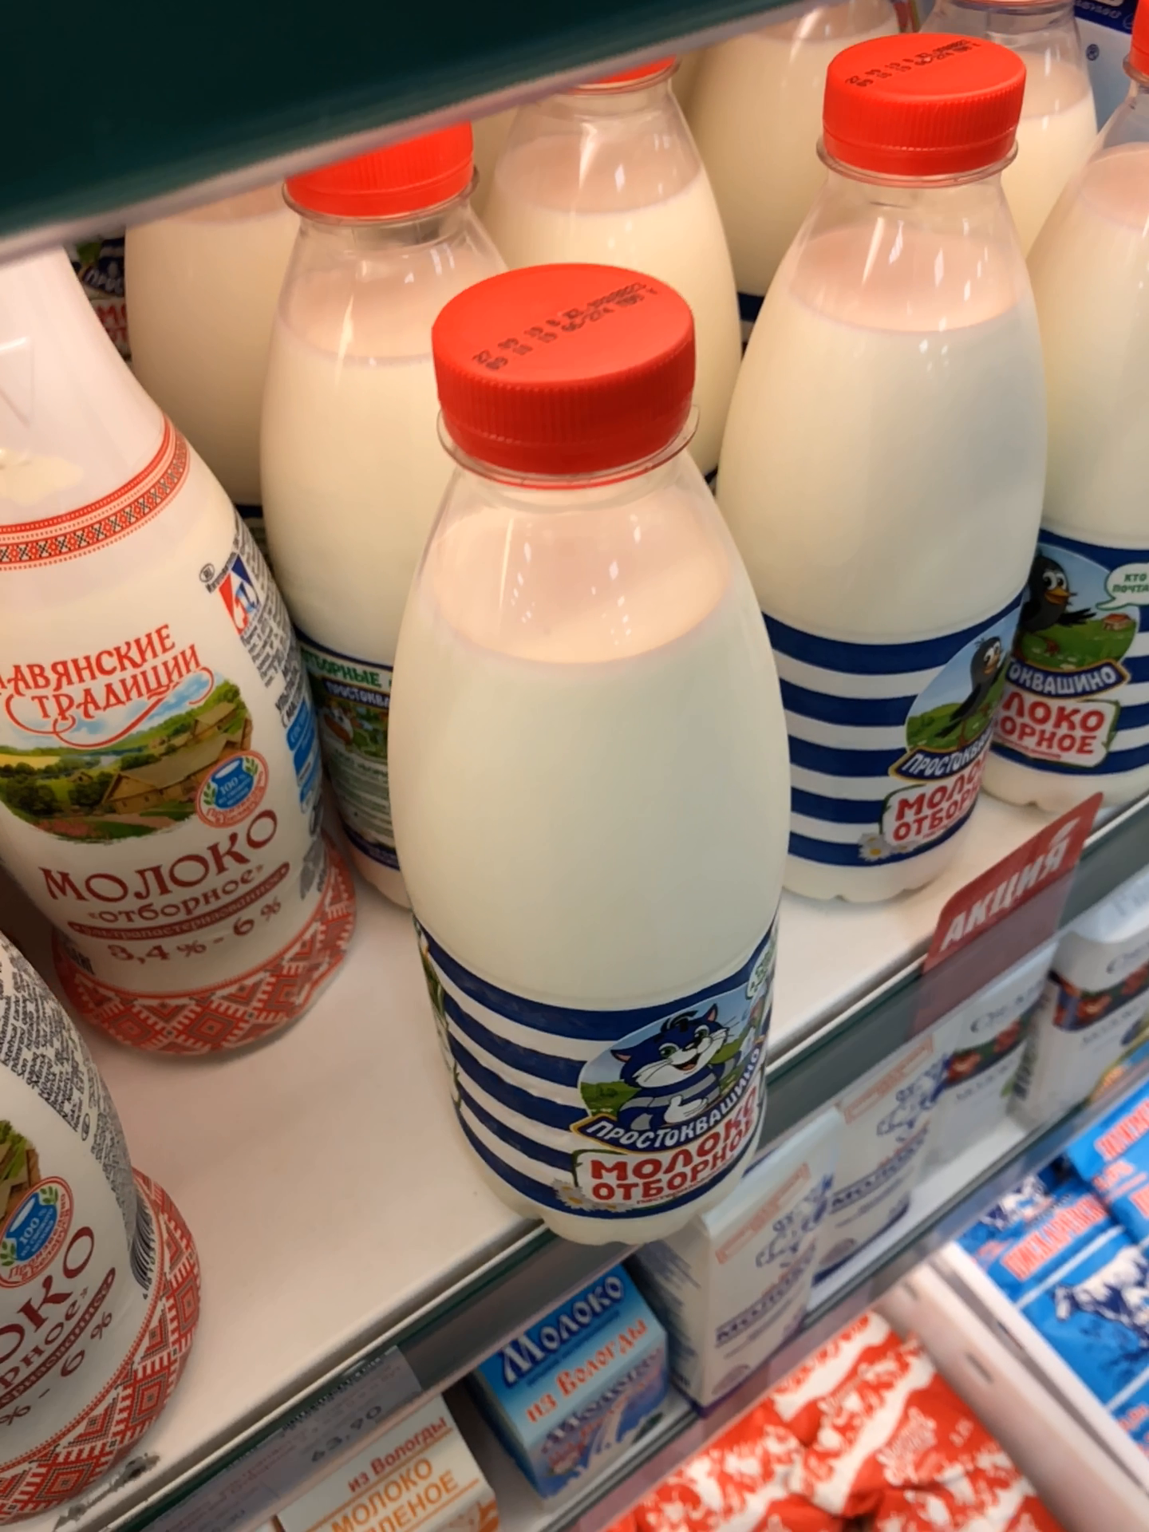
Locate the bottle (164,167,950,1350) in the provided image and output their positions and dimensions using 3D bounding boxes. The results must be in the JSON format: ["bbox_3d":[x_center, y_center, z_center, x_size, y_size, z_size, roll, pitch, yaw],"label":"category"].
[{"bbox_3d":[0.002,0.016,0.265,0.090,0.228,0.080,-21,45,-15],"label":"bottle"}]
